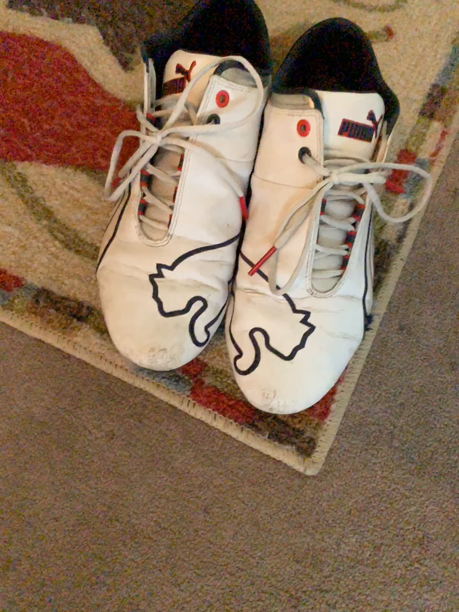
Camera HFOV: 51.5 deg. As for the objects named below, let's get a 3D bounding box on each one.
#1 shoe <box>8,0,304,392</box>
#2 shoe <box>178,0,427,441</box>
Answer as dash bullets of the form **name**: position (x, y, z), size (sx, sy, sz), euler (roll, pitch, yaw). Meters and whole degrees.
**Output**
- **shoe**: position (-0.030, -0.102, 0.327), size (0.100, 0.090, 0.291), euler (13, 69, 3)
- **shoe**: position (0.054, -0.070, 0.326), size (0.100, 0.100, 0.291), euler (13, 69, 3)
